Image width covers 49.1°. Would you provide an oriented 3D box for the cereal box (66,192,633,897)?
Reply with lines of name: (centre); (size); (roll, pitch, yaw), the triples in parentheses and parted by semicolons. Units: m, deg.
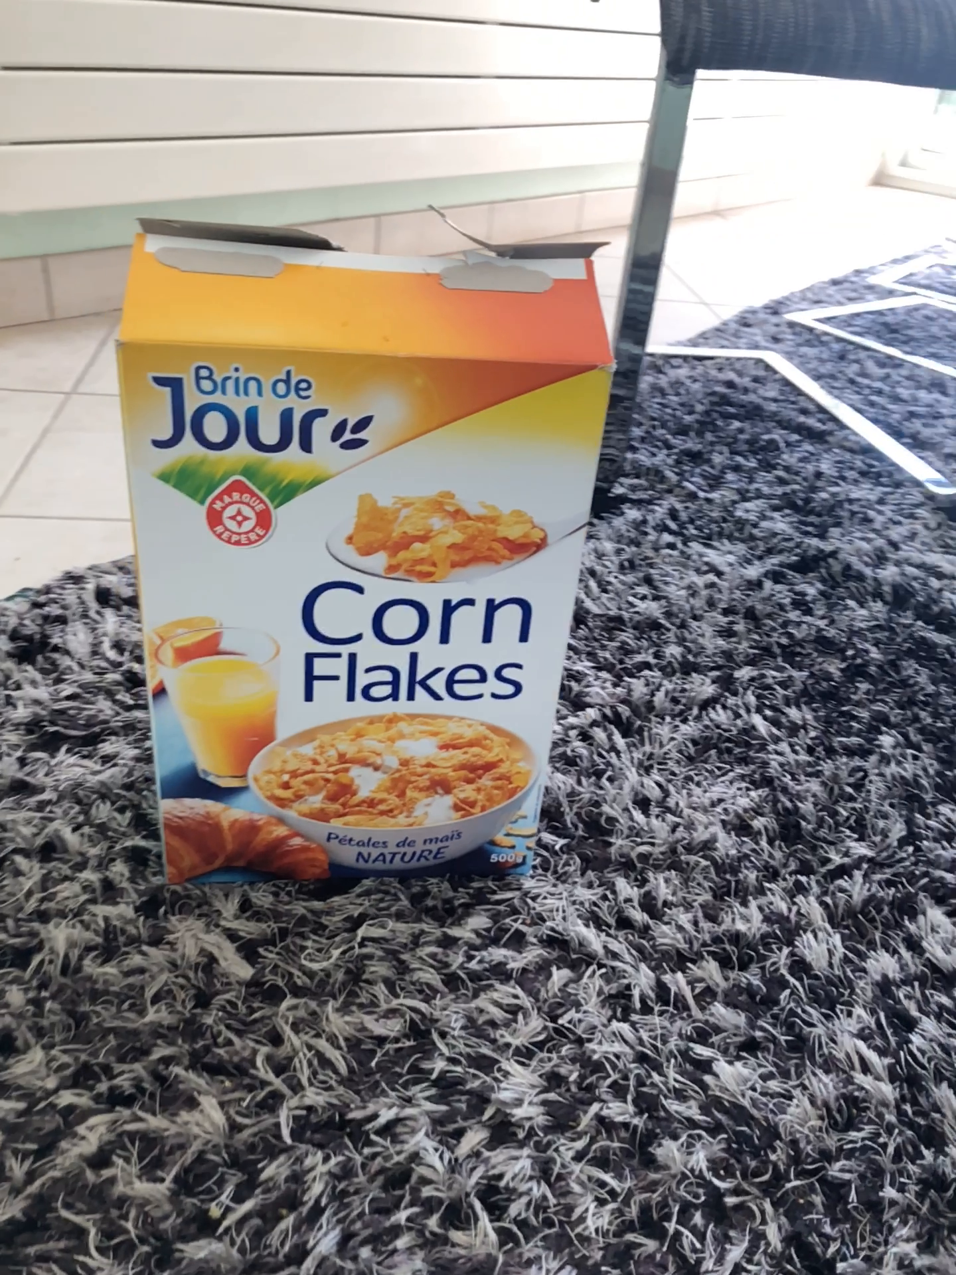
cereal box: (-0.063, -0.028, 0.495); (0.200, 0.308, 0.101); (1, 32, -9)
